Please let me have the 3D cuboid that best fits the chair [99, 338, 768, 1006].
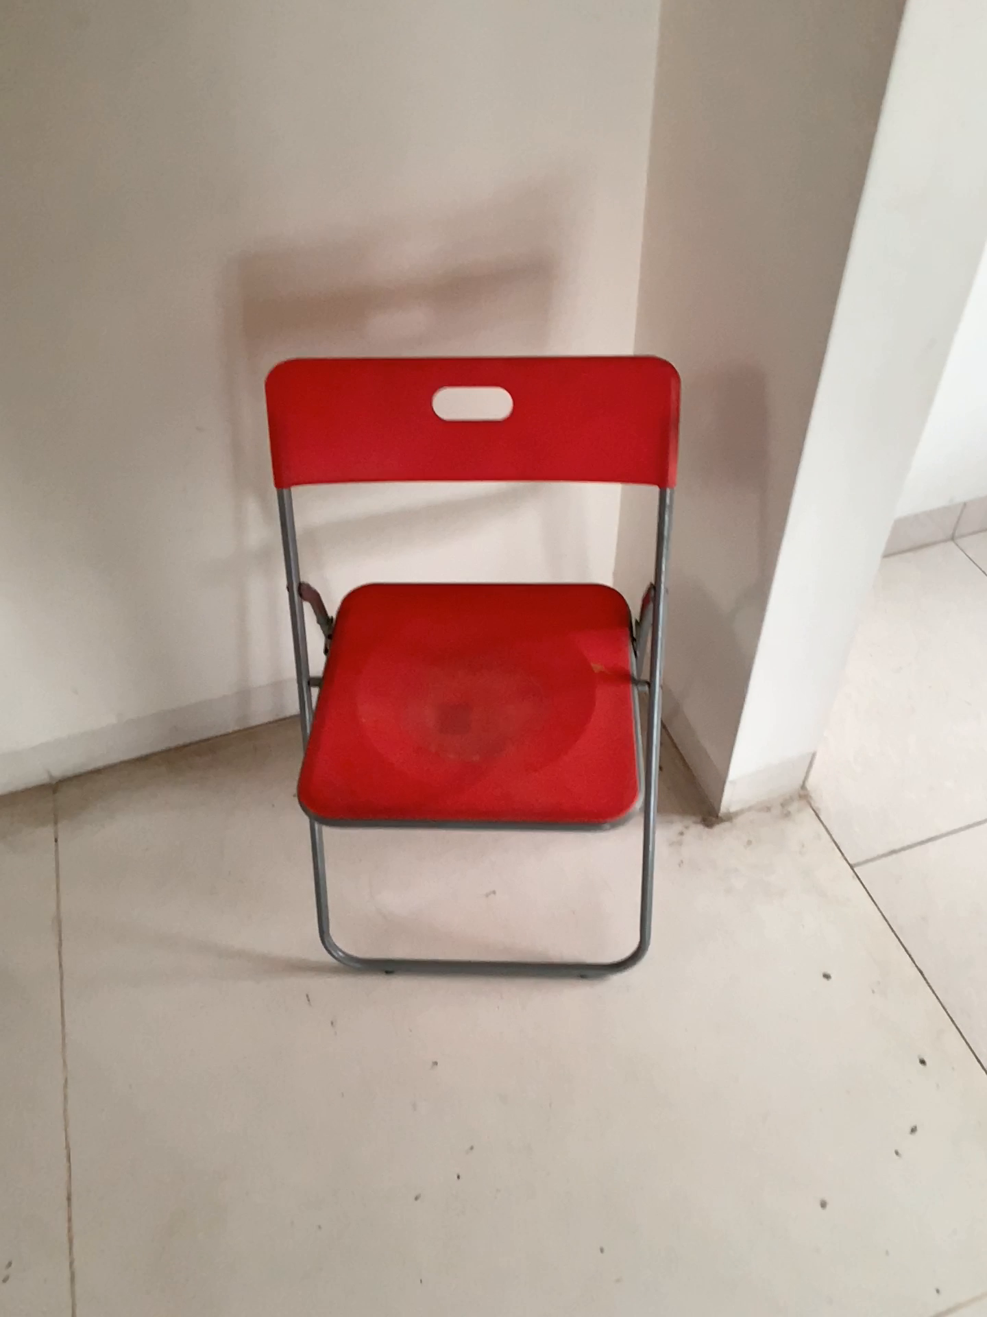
[{"bbox_3d":[-0.034,0.033,1.187,0.530,0.607,0.502,0,47,2],"label":"chair"}]
